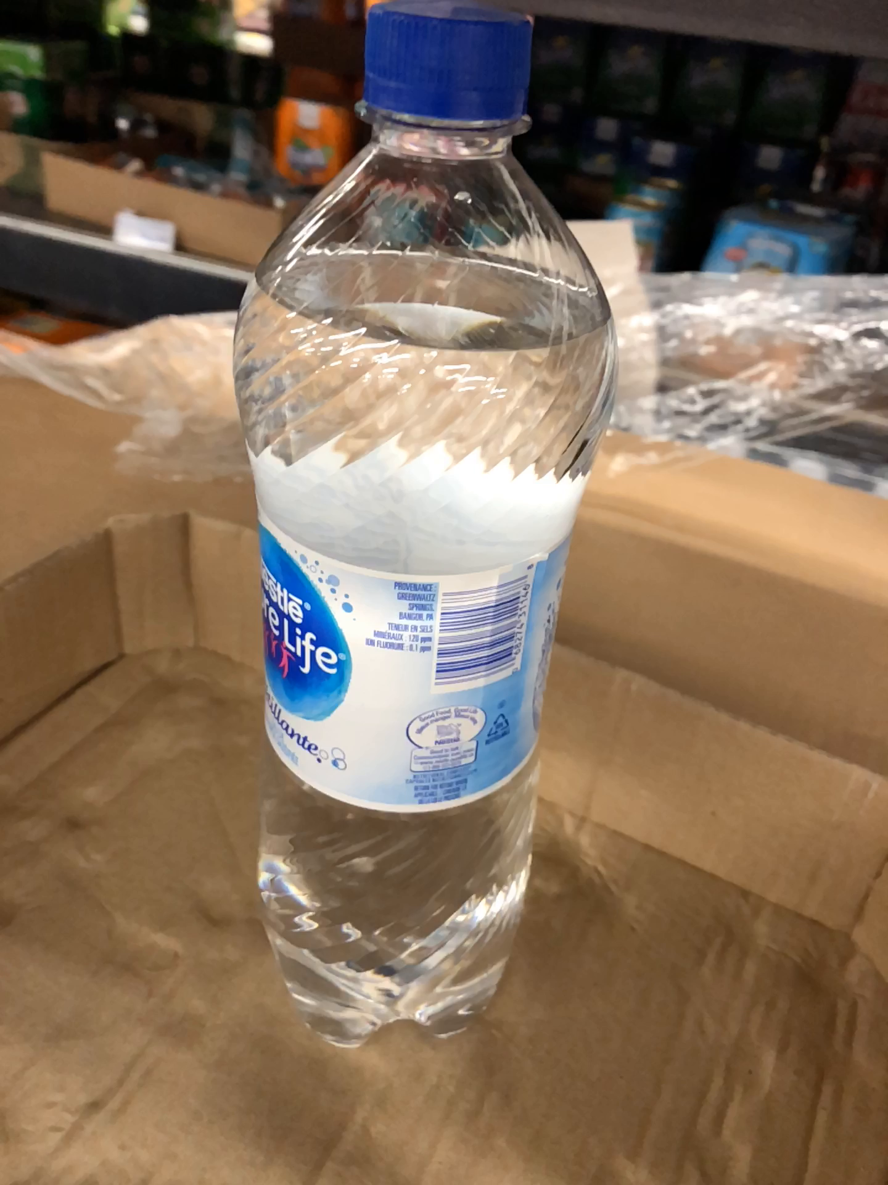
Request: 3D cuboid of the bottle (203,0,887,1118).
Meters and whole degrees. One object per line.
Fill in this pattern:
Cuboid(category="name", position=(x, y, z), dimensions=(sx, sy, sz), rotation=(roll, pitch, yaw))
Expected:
Cuboid(category="bottle", position=(0.002, -0.002, 0.270), dimensions=(0.100, 0.278, 0.101), rotation=(5, 32, -3))
